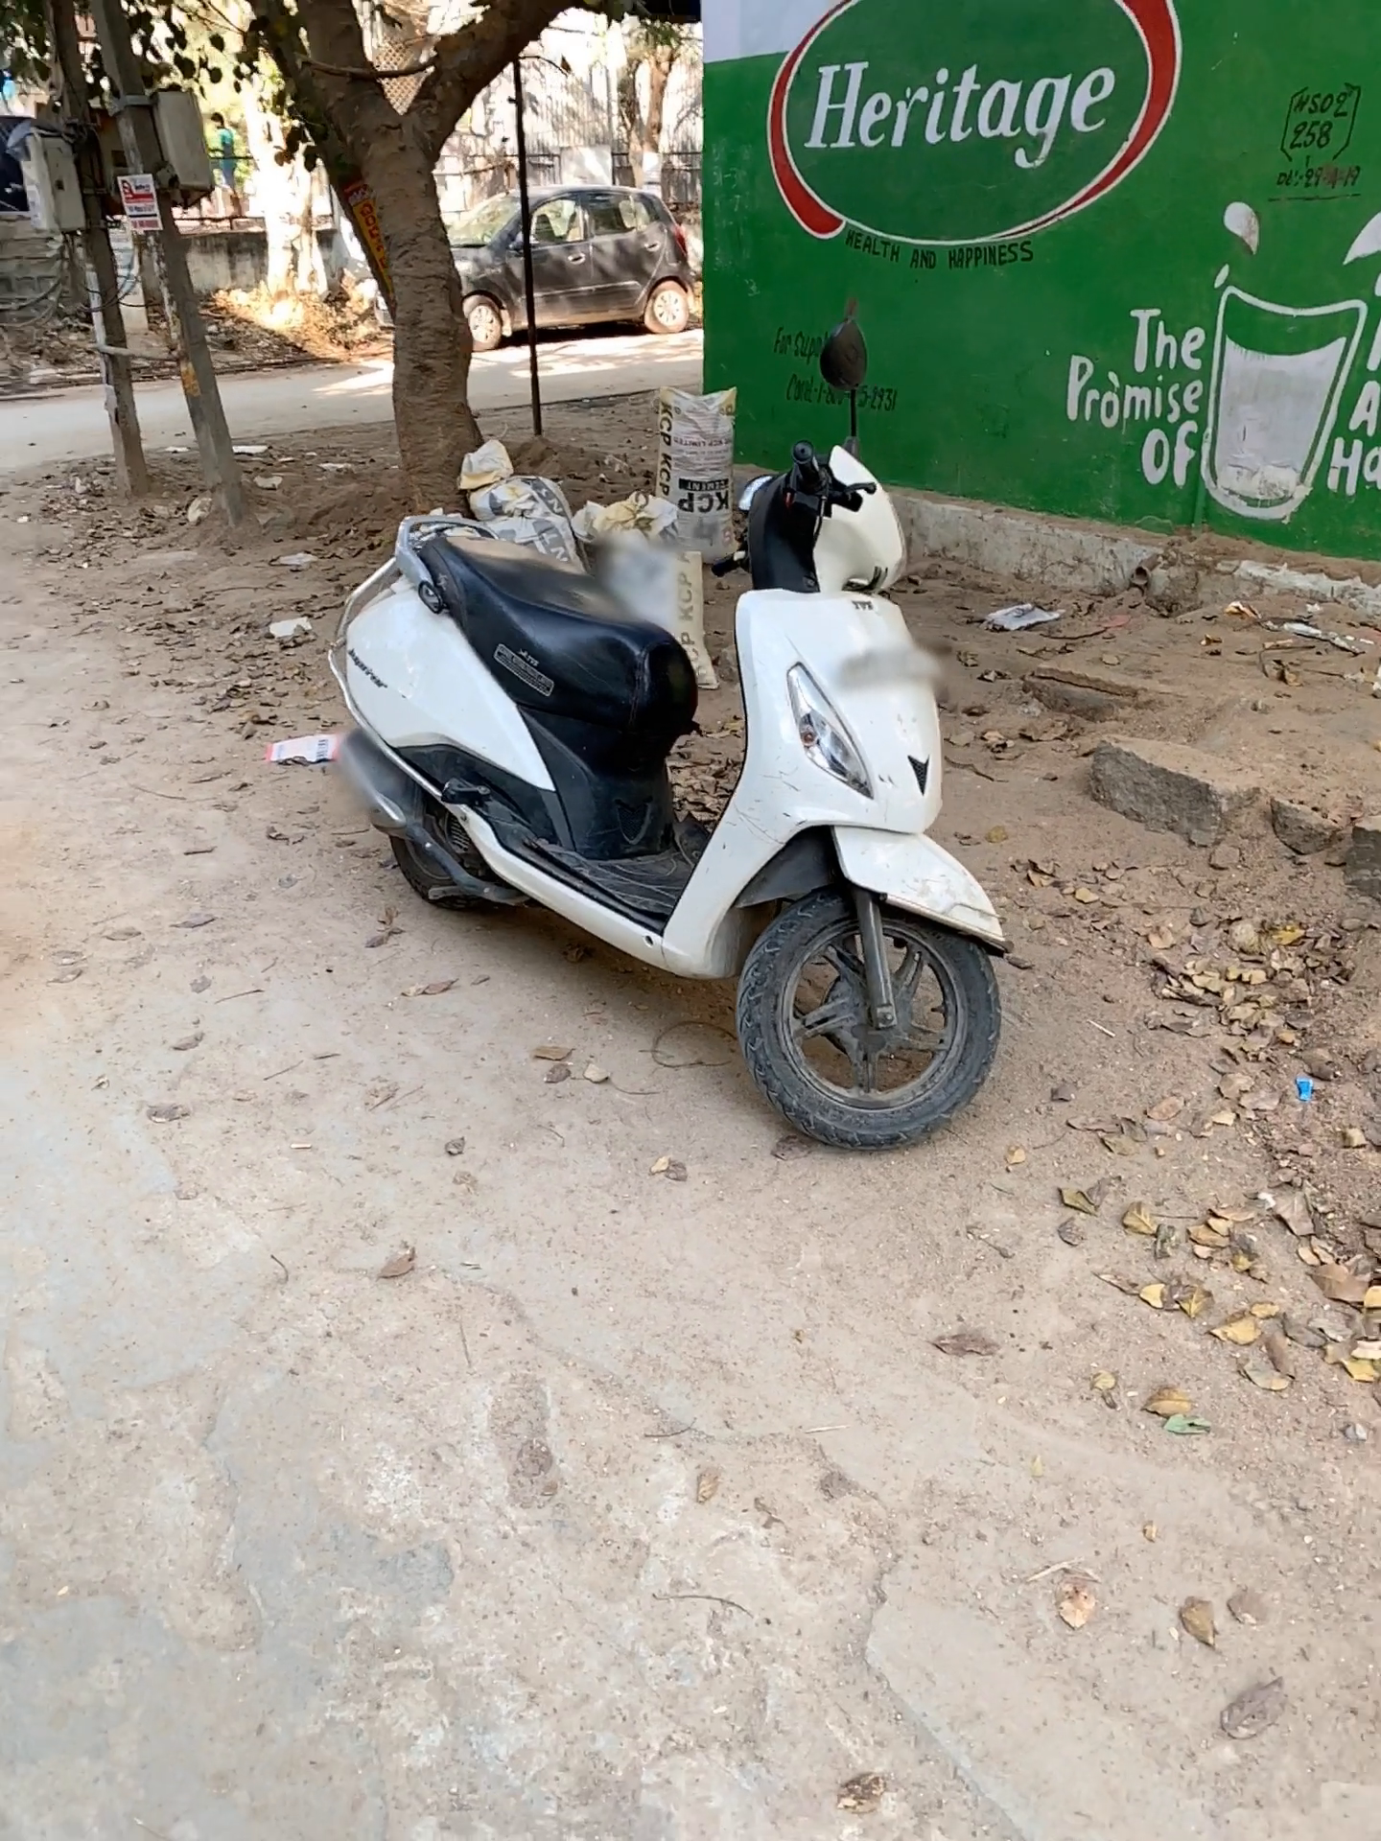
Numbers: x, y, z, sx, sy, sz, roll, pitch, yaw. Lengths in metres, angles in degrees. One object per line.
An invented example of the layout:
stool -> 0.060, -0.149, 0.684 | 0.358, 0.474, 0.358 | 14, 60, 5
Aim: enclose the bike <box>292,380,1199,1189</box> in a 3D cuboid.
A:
bike -> 0.053, -0.377, 2.710 | 1.462, 1.066, 0.688 | 20, 33, 33
